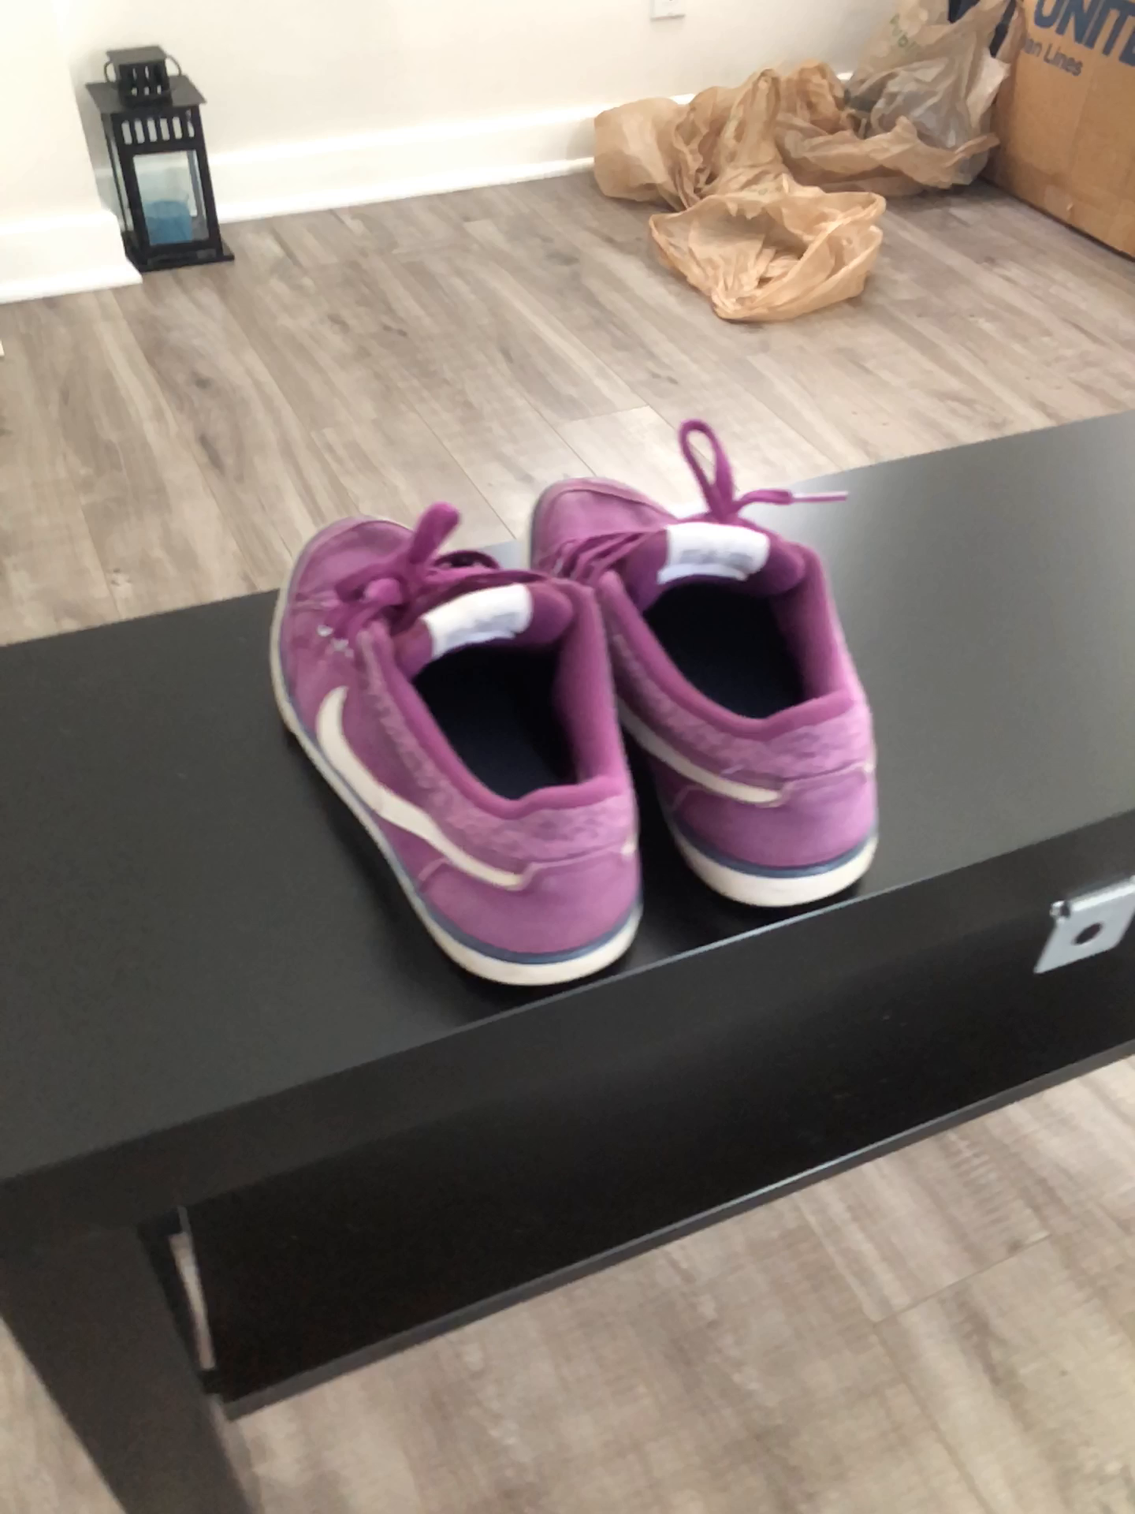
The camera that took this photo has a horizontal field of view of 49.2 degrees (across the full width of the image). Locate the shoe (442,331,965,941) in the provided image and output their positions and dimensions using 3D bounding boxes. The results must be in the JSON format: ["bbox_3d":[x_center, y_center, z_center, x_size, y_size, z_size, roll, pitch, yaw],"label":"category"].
[{"bbox_3d":[0.034,-0.062,0.488,0.100,0.100,0.241,-13,46,-16],"label":"shoe"}]

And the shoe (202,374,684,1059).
[{"bbox_3d":[-0.058,-0.033,0.460,0.100,0.100,0.251,-13,46,-16],"label":"shoe"}]
